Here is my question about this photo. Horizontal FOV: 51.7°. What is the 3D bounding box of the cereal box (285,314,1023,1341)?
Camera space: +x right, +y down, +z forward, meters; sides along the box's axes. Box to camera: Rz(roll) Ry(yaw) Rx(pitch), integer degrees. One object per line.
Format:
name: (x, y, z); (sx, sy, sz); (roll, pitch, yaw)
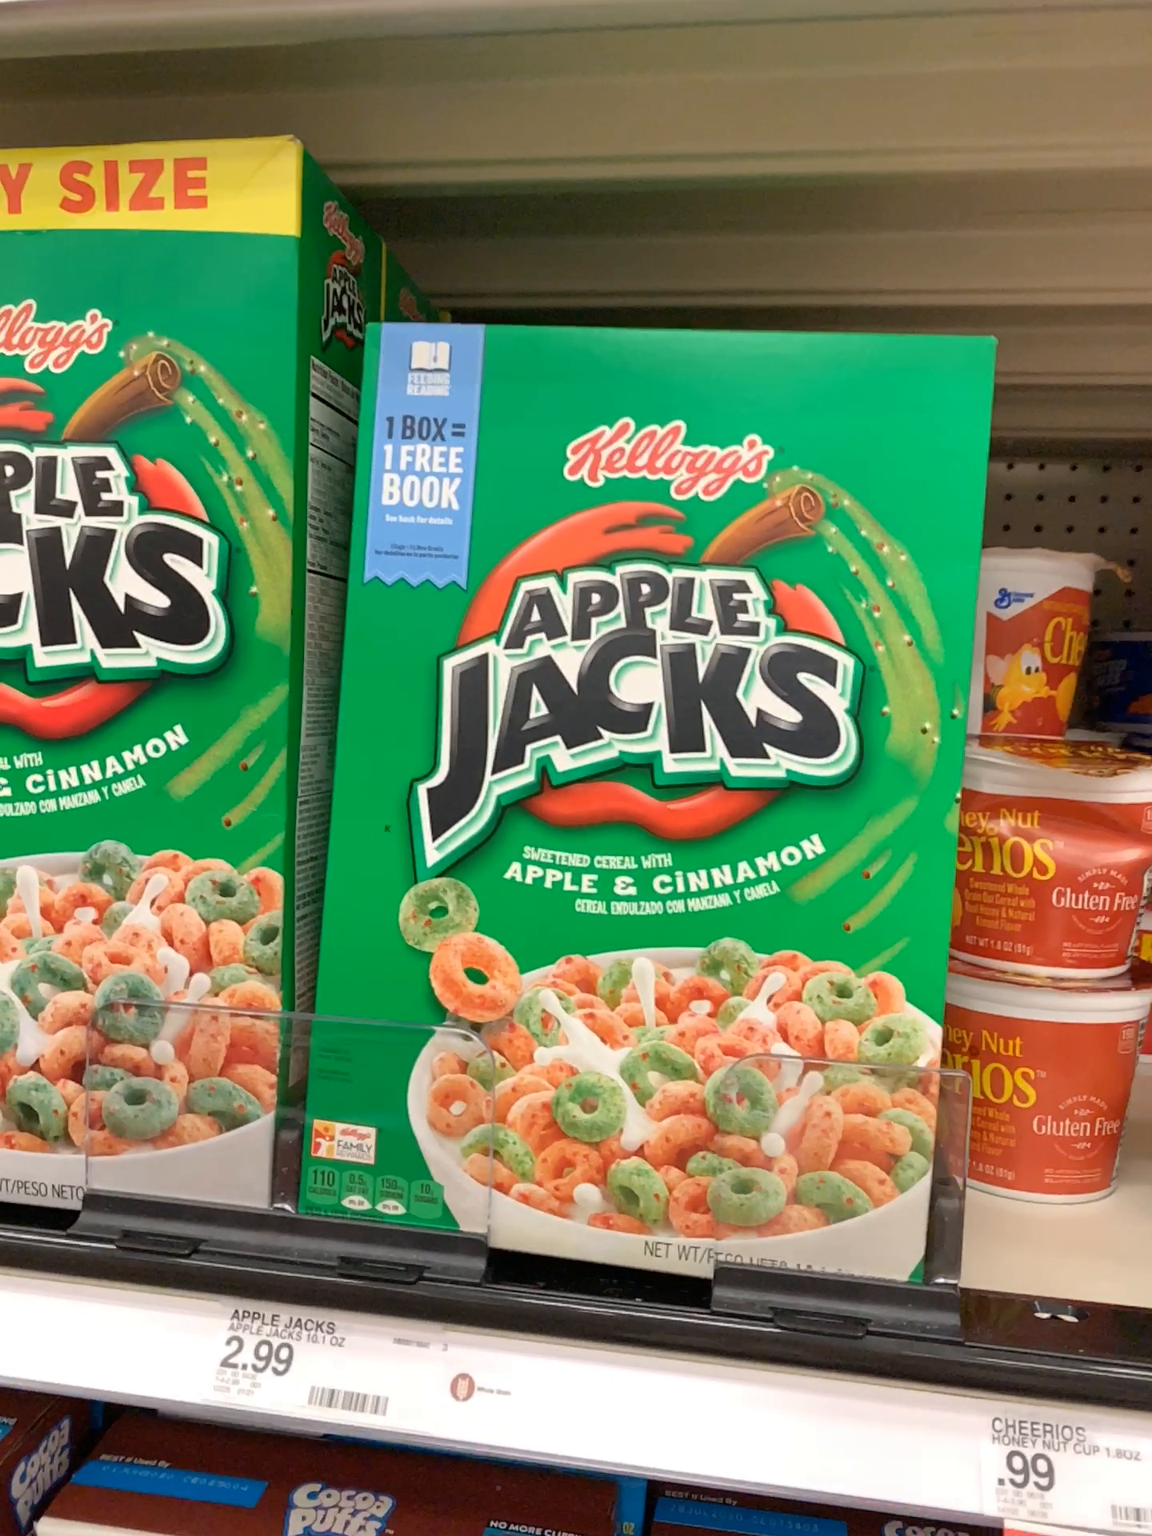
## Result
cereal box: (0.023, 0.012, 0.381); (0.200, 0.290, 0.060); (4, 0, 8)
